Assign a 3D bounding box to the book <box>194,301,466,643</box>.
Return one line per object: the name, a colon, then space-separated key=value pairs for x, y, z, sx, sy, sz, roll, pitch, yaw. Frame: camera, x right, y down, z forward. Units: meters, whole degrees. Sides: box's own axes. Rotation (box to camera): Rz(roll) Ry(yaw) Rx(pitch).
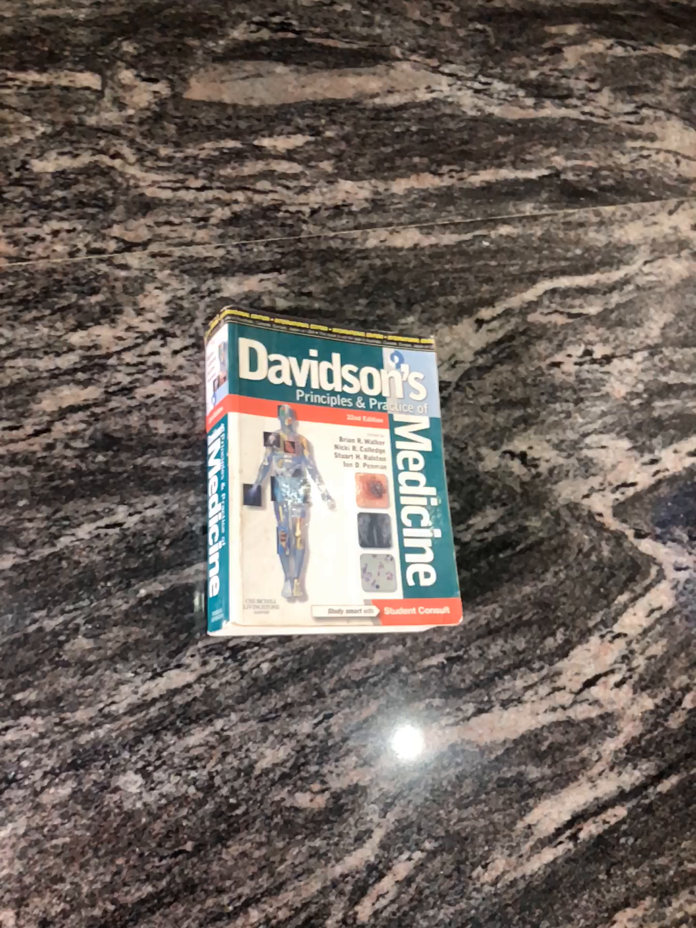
book: x=-0.020 y=0.010 z=0.646 sx=0.201 sy=0.070 sz=0.260 roll=4 pitch=70 yaw=-24
